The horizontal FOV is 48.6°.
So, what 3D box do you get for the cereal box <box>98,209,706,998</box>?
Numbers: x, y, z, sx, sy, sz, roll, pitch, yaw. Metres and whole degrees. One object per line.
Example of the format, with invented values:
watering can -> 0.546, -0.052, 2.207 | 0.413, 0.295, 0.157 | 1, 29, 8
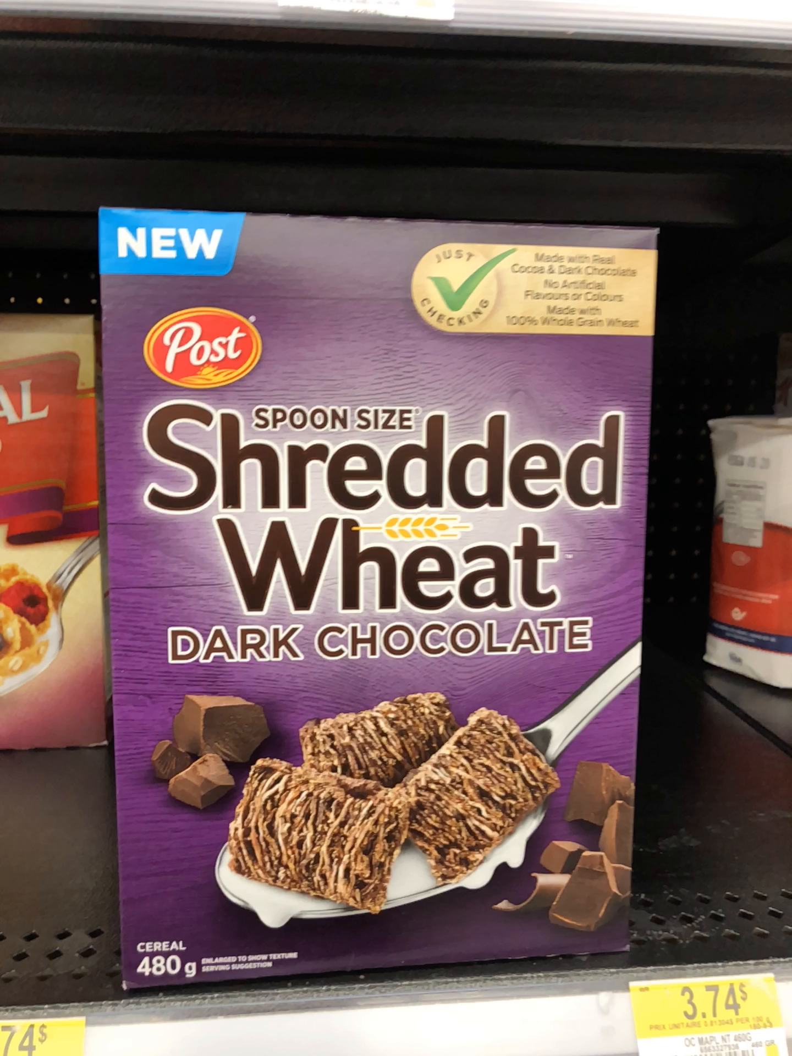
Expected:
cereal box -> 0.002, 0.027, 0.335 | 0.200, 0.269, 0.060 | -1, 8, -7
